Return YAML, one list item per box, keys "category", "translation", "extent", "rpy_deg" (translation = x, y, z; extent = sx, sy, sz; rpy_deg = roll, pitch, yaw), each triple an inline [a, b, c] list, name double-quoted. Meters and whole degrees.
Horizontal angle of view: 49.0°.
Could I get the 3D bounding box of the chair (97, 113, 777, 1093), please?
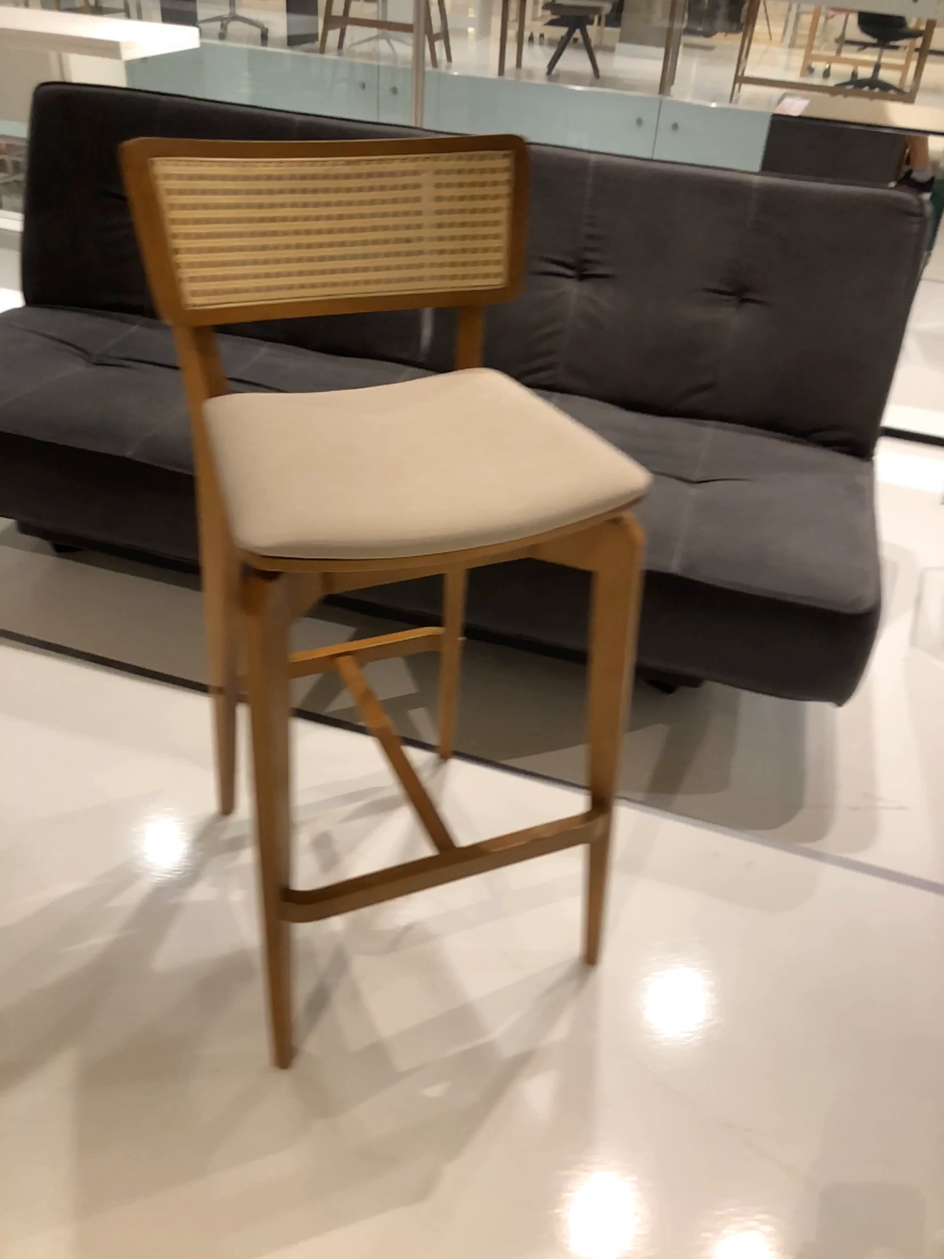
- category: "chair"
  translation: [-0.096, -0.035, 1.230]
  extent: [0.471, 0.962, 0.524]
  rpy_deg: [-11, 37, -21]
